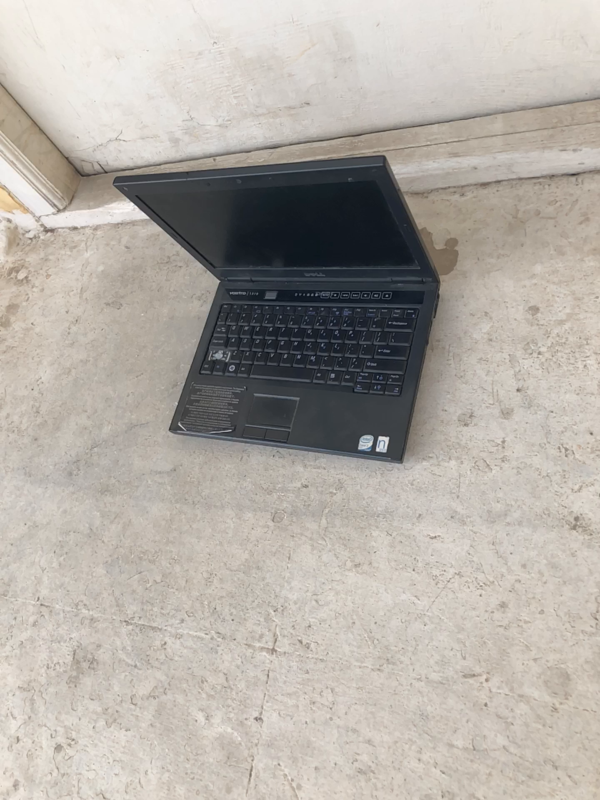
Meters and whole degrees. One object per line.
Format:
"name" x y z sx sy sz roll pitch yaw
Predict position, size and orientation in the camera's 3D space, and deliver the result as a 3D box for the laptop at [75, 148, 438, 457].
"laptop" -0.031 -0.096 0.722 0.293 0.219 0.214 5 68 26
